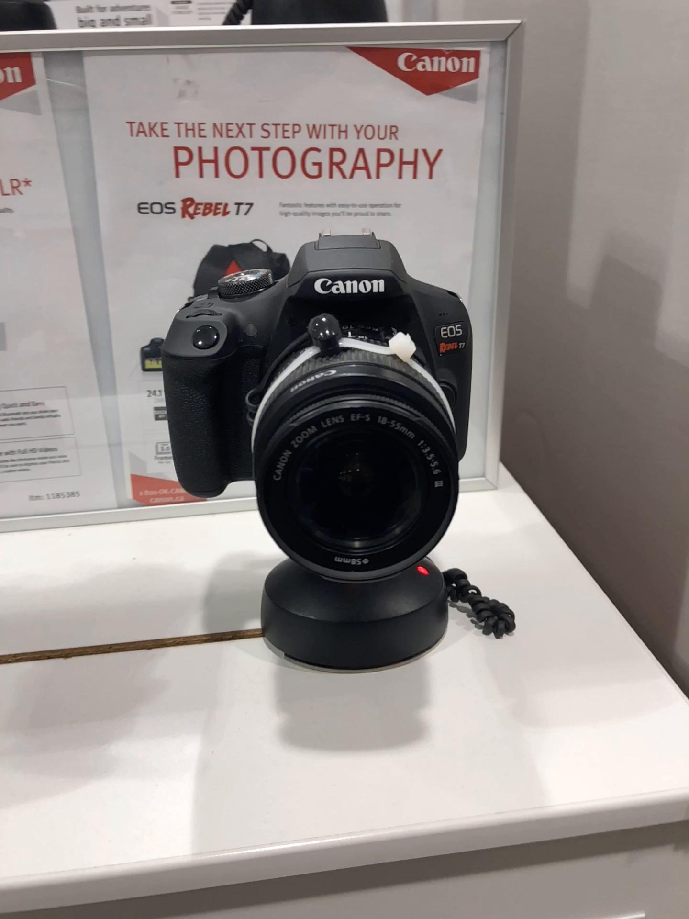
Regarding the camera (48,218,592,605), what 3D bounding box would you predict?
[{"bbox_3d":[-0.009,-0.030,0.279,0.140,0.090,0.141,-4,24,-4],"label":"camera"}]
